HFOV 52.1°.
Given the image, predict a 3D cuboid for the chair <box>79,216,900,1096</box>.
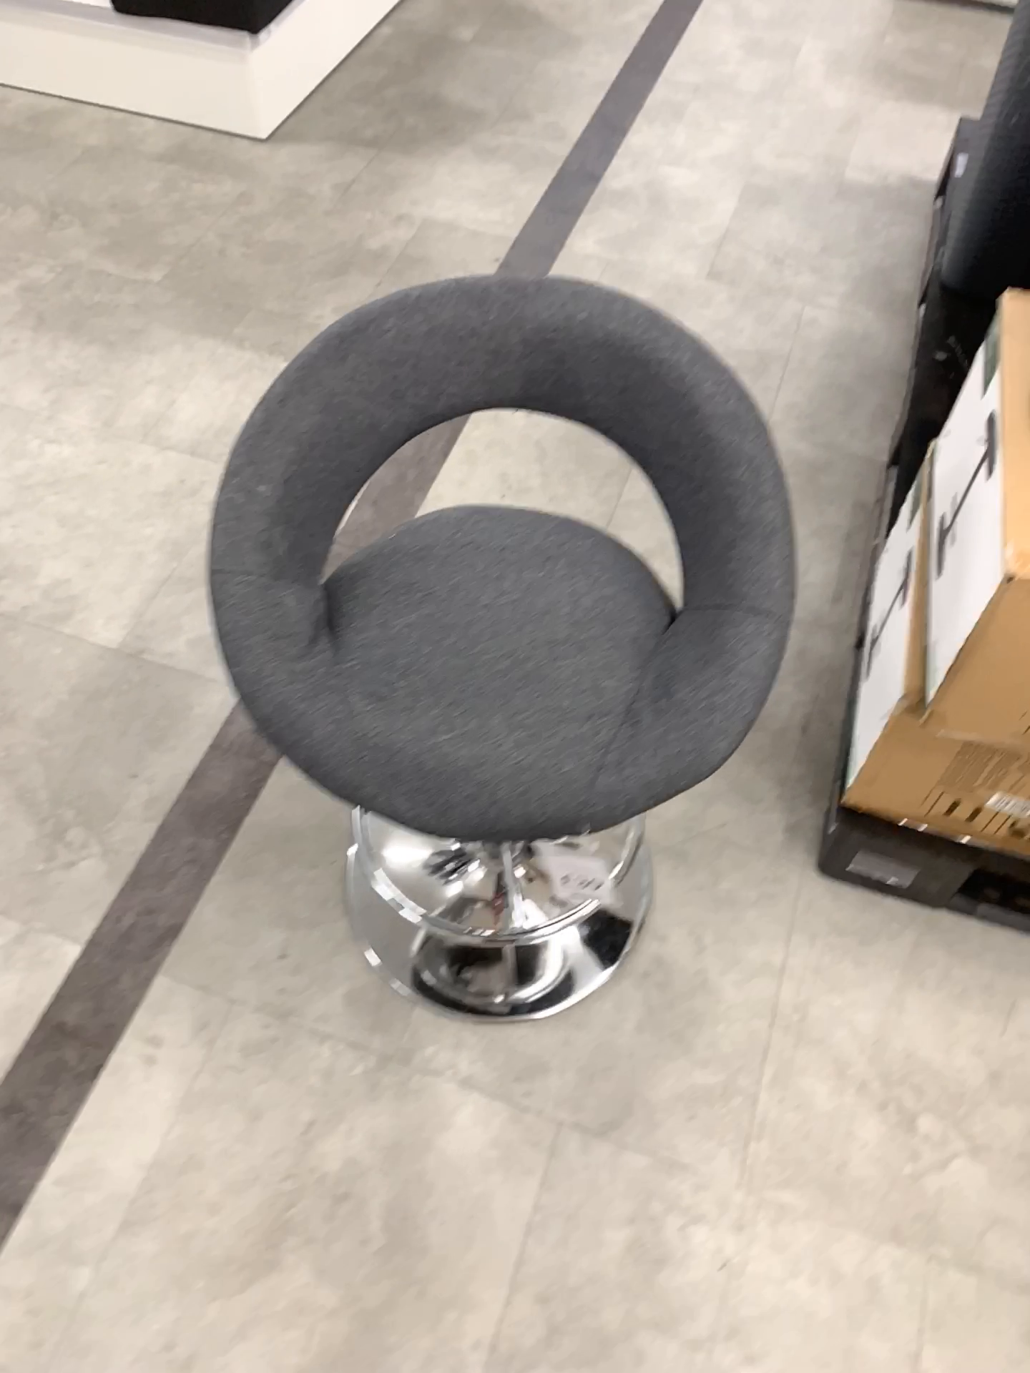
[{"bbox_3d":[0.011,0.027,1.155,0.546,0.789,0.489,12,55,7],"label":"chair"}]
